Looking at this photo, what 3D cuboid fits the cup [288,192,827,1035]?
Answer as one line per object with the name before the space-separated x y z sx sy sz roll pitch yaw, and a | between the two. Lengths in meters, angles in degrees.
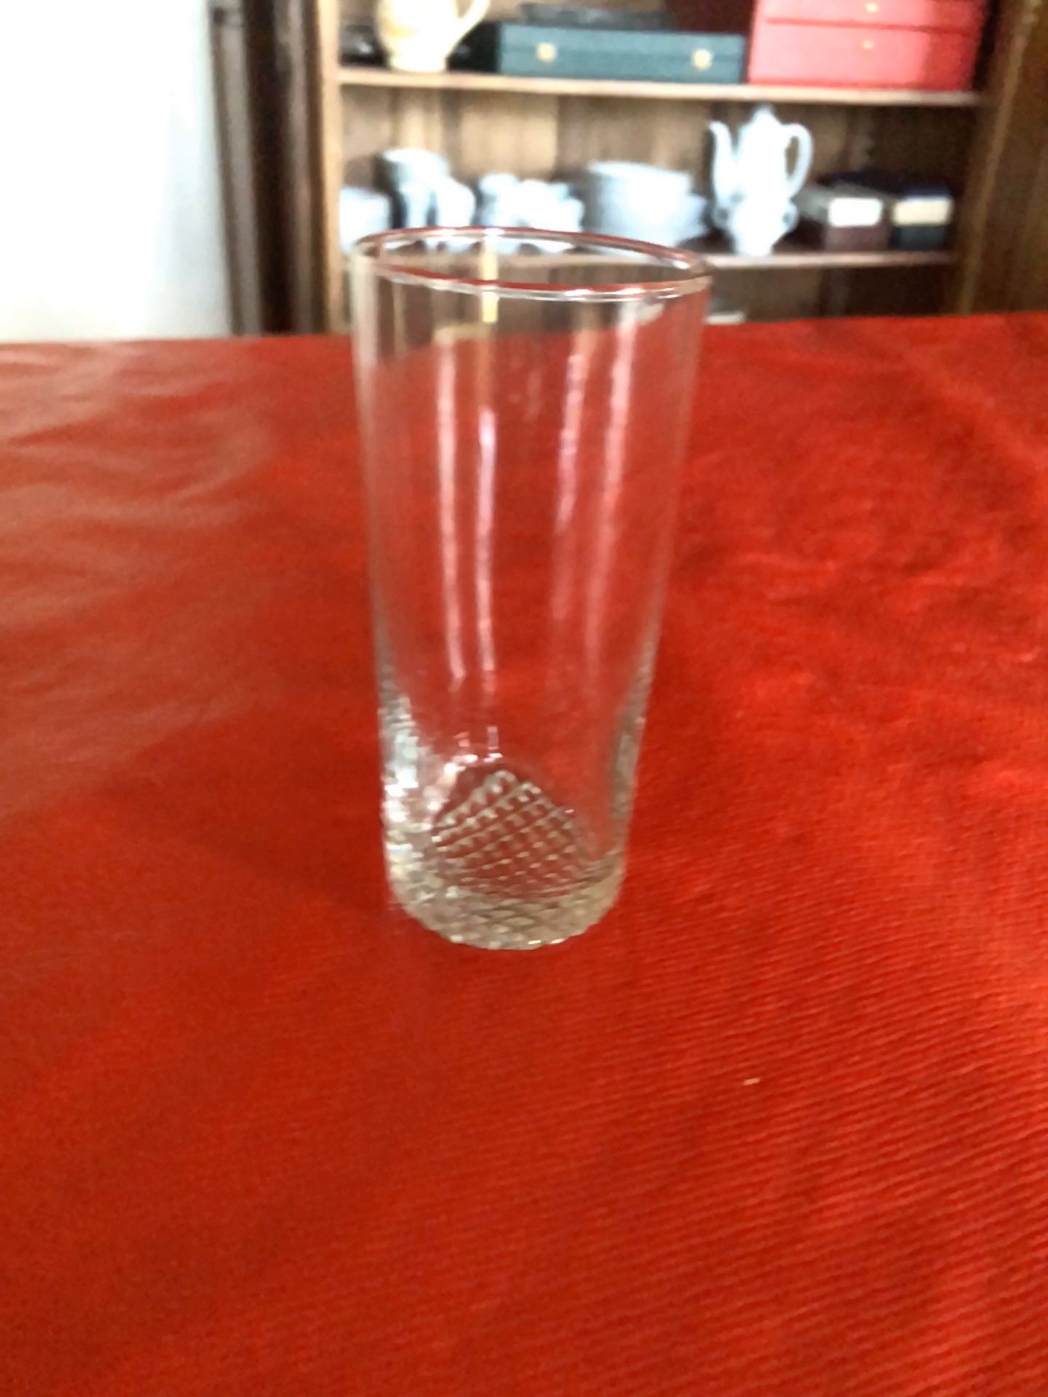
cup | 0.005 -0.020 0.247 0.070 0.149 0.070 2 29 -1
